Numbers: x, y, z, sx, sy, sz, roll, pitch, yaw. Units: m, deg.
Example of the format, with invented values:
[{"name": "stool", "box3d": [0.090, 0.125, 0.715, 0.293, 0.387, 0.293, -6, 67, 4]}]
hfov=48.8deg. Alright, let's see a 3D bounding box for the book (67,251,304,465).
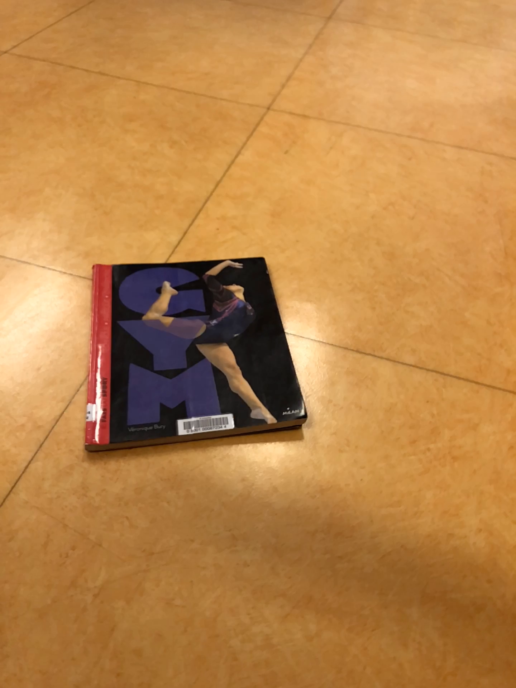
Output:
[{"name": "book", "box3d": [-0.076, -0.002, 0.555, 0.193, 0.030, 0.235, -4, 47, -10]}]
